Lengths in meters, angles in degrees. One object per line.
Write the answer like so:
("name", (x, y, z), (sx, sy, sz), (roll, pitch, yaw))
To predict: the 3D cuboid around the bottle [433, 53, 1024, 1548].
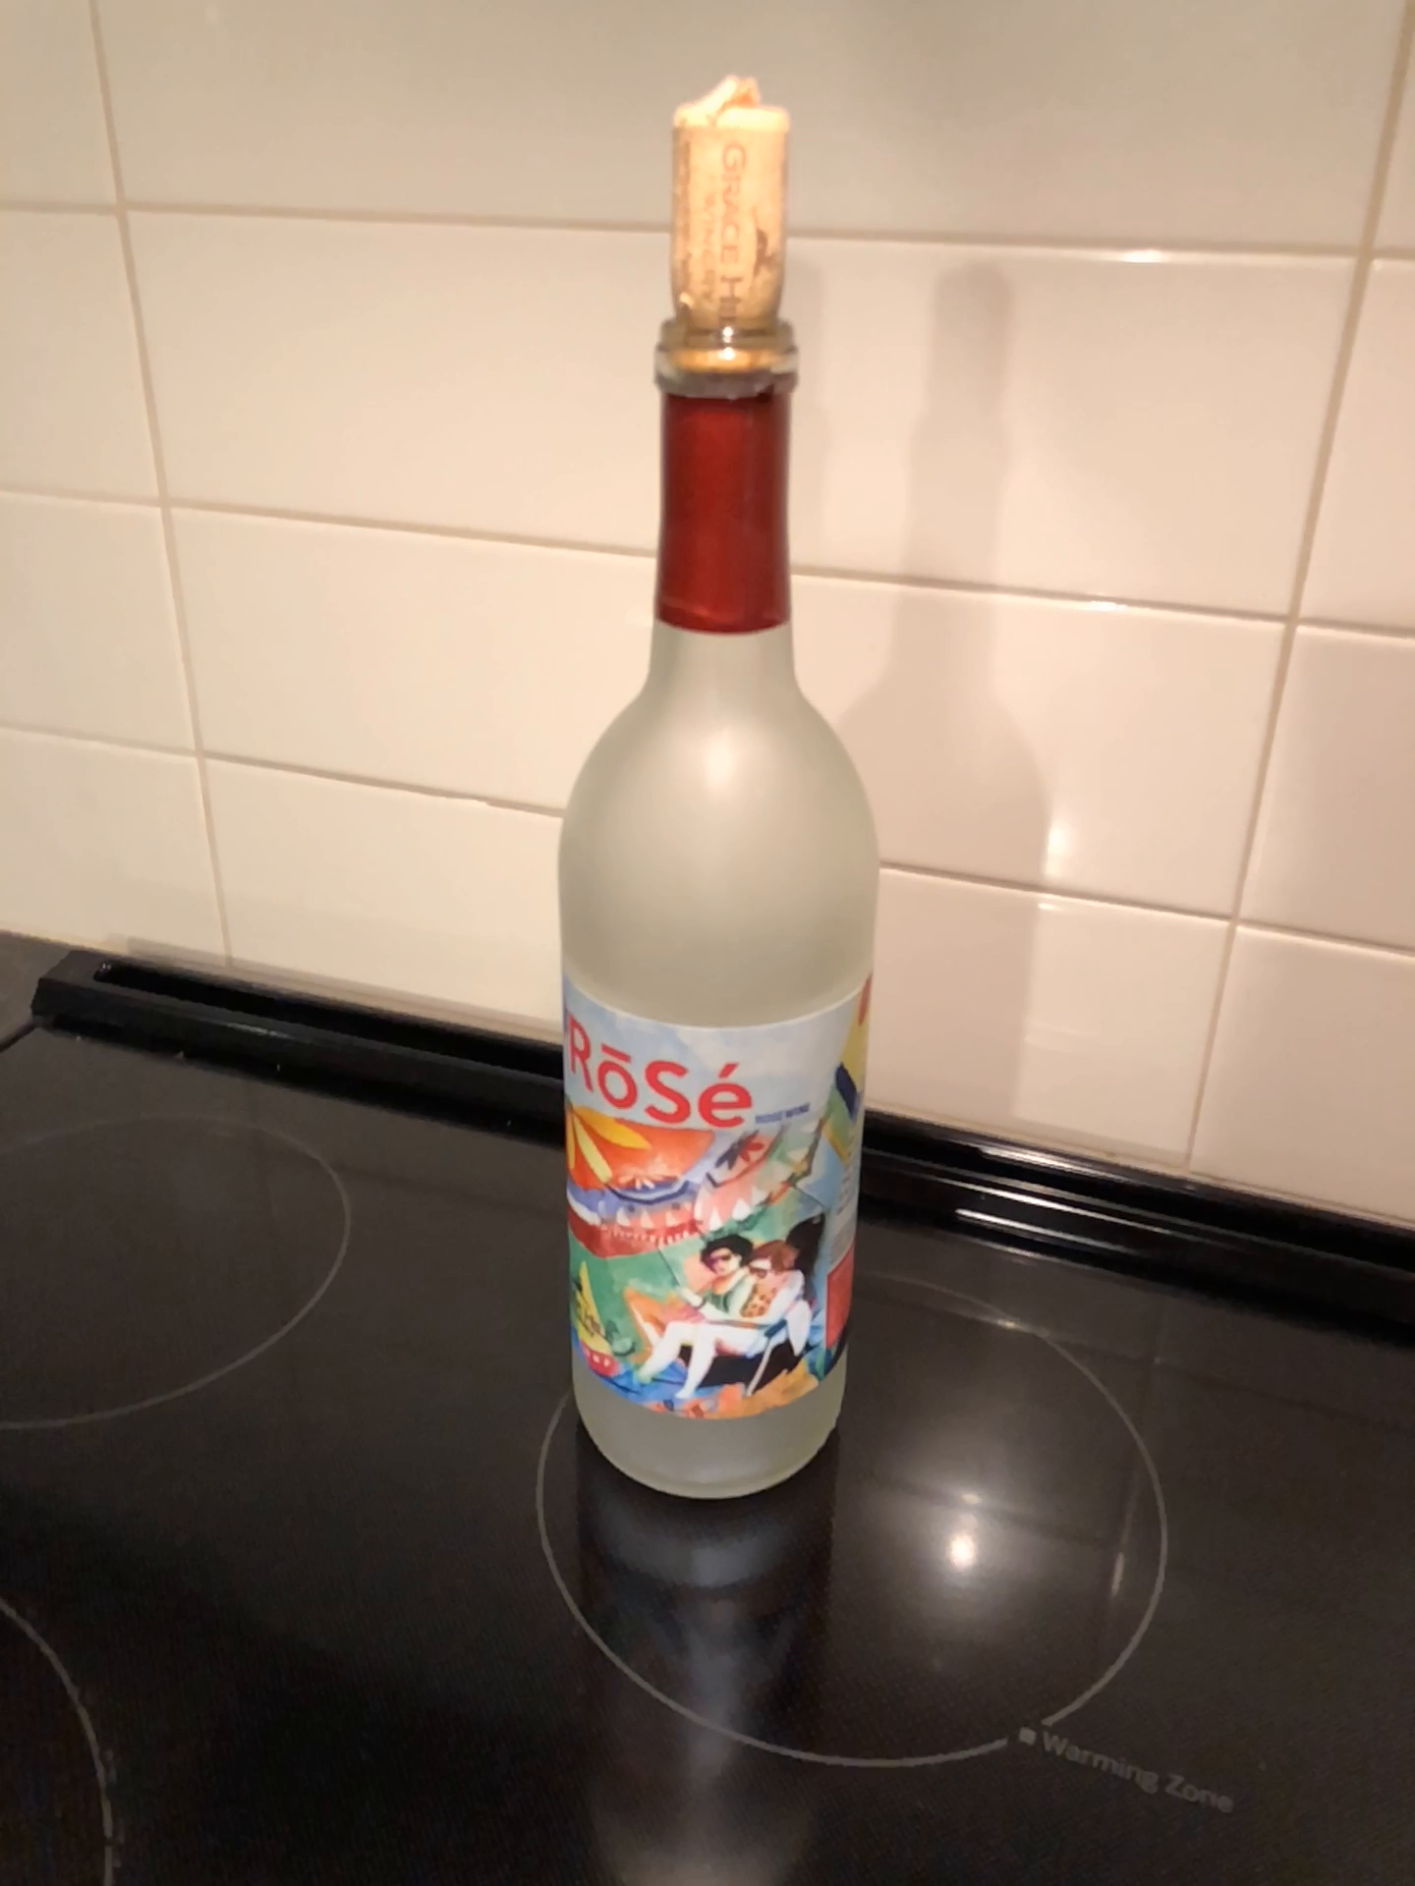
("bottle", (0.004, -0.019, 0.359), (0.080, 0.318, 0.080), (1, 27, 0))
